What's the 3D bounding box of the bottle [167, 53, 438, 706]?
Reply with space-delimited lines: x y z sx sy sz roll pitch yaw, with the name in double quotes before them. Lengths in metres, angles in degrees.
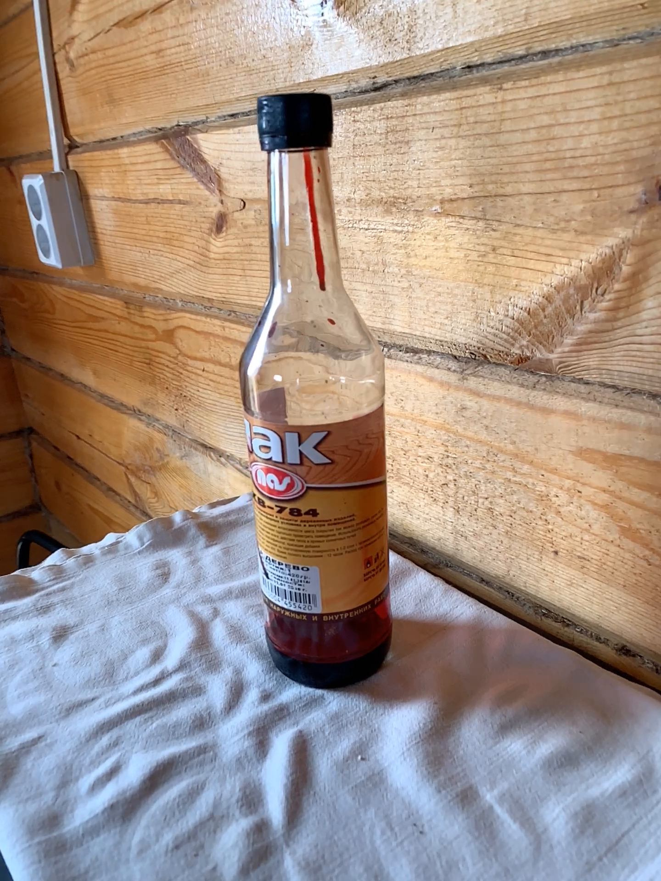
"bottle" -0.009 -0.021 0.310 0.080 0.258 0.070 16 26 38
